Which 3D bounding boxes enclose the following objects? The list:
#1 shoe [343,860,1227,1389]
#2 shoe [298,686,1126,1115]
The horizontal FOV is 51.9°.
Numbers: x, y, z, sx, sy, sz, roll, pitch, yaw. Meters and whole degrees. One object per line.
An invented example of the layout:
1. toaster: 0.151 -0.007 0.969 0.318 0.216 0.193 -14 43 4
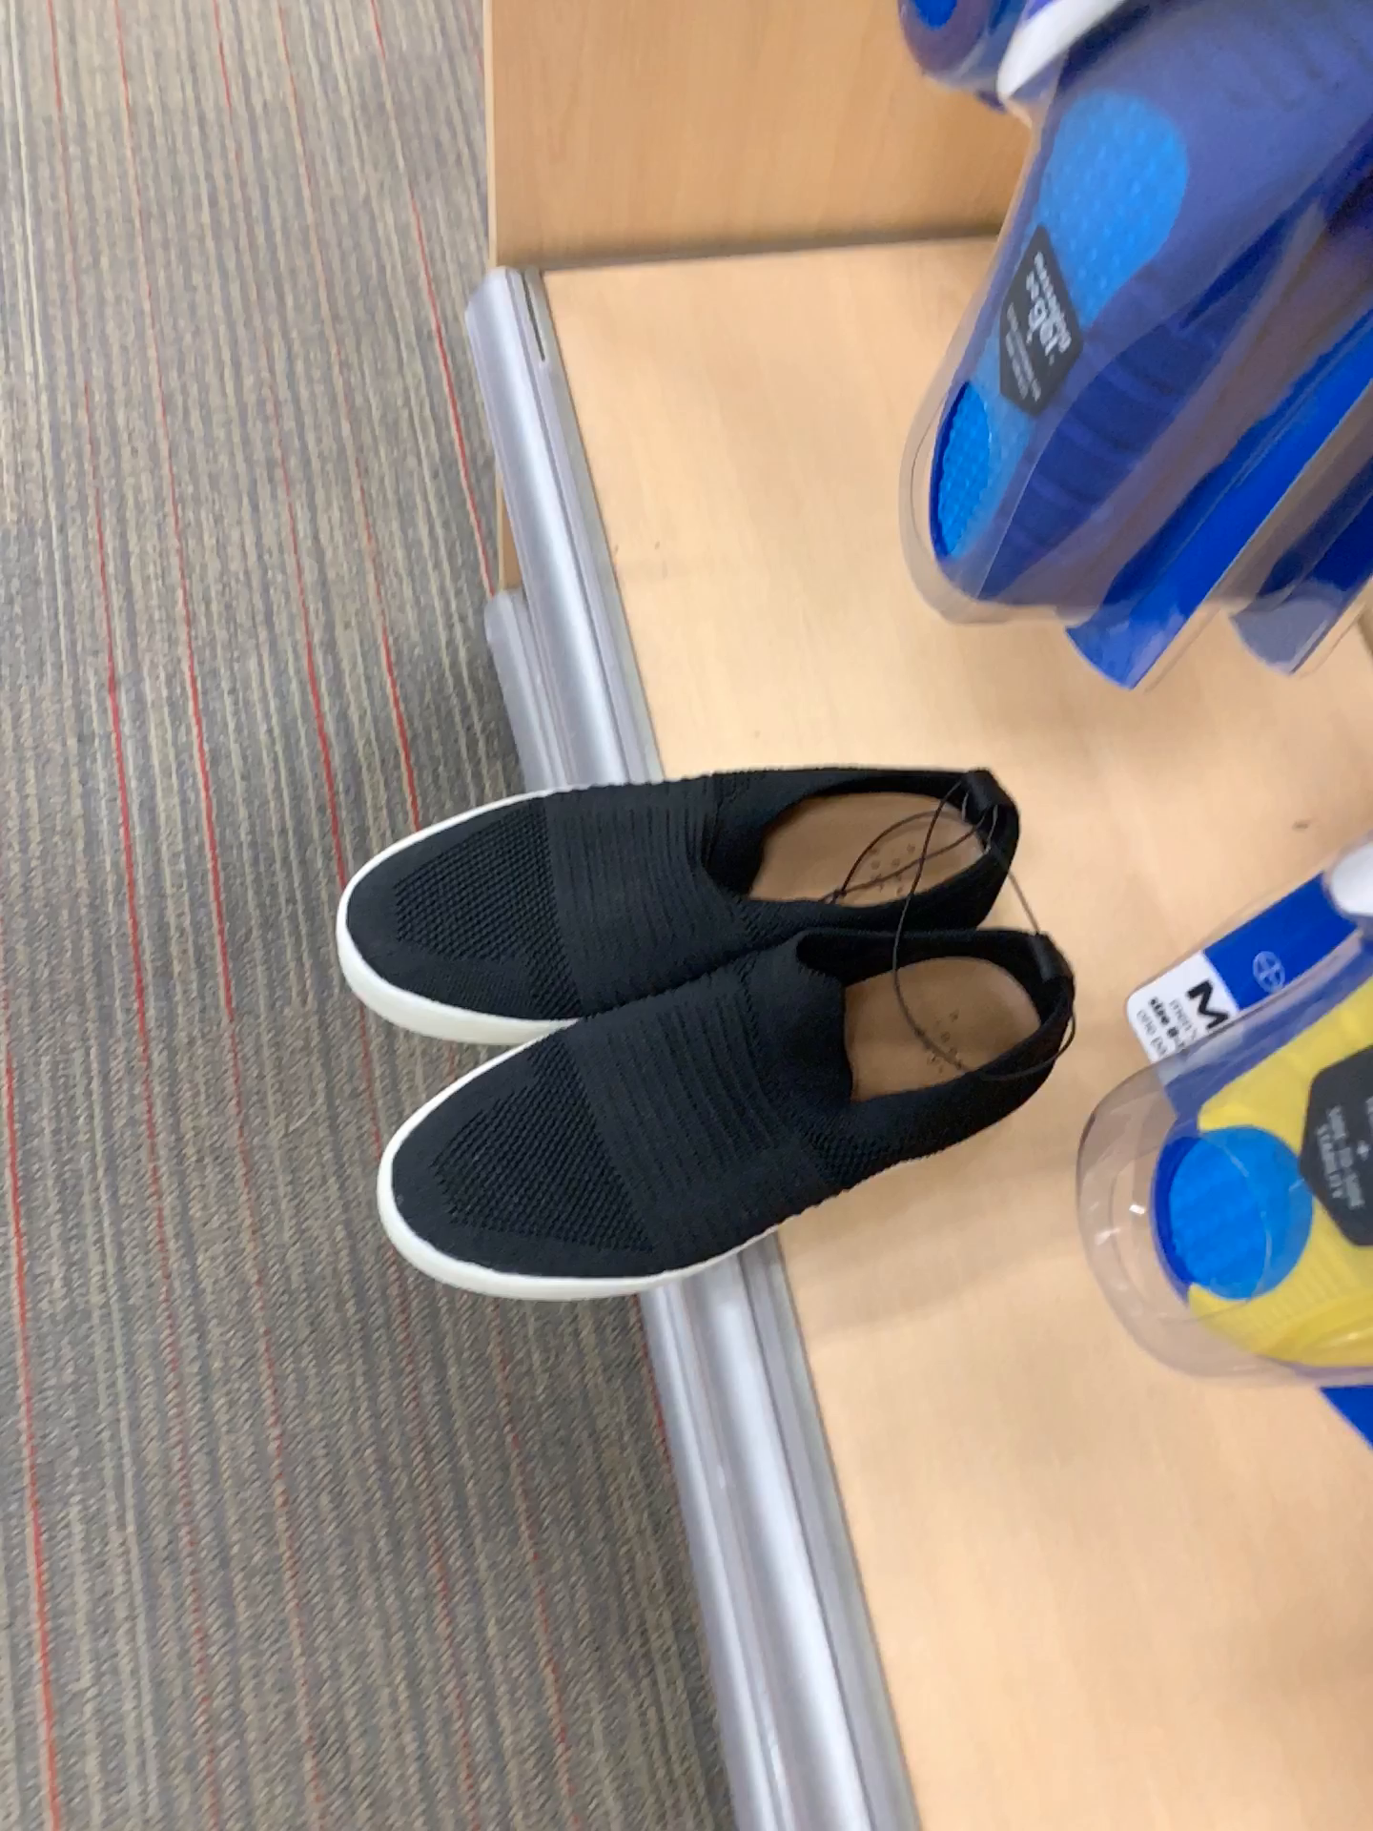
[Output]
1. shoe: 0.030 0.074 0.499 0.270 0.100 0.100 -13 71 -12
2. shoe: 0.005 -0.005 0.525 0.270 0.100 0.100 -7 70 -10
